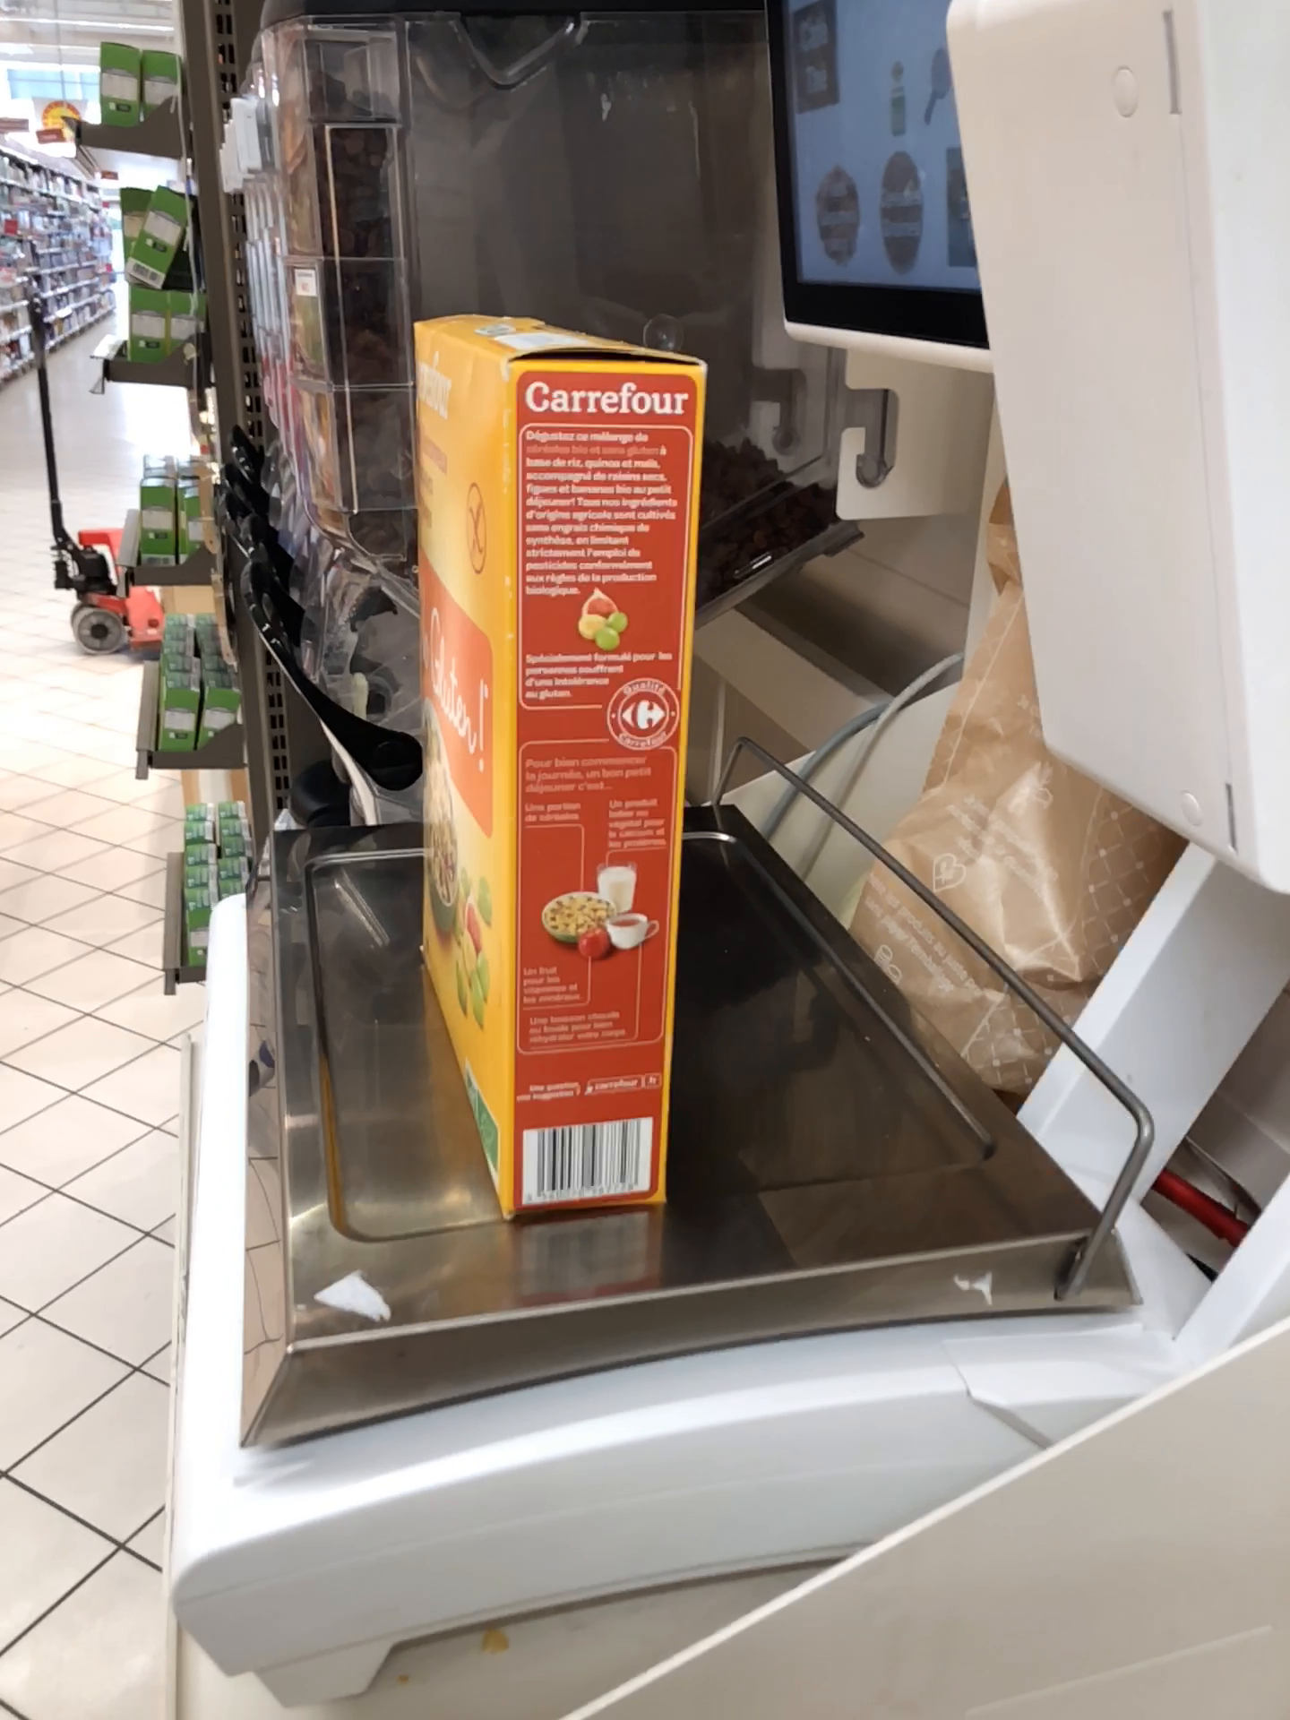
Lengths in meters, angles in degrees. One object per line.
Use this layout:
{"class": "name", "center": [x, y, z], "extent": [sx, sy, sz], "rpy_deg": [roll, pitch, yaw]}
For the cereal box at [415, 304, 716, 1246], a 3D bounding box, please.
{"class": "cereal box", "center": [-0.036, -0.042, 0.466], "extent": [0.050, 0.259, 0.191], "rpy_deg": [-4, 23, -15]}
